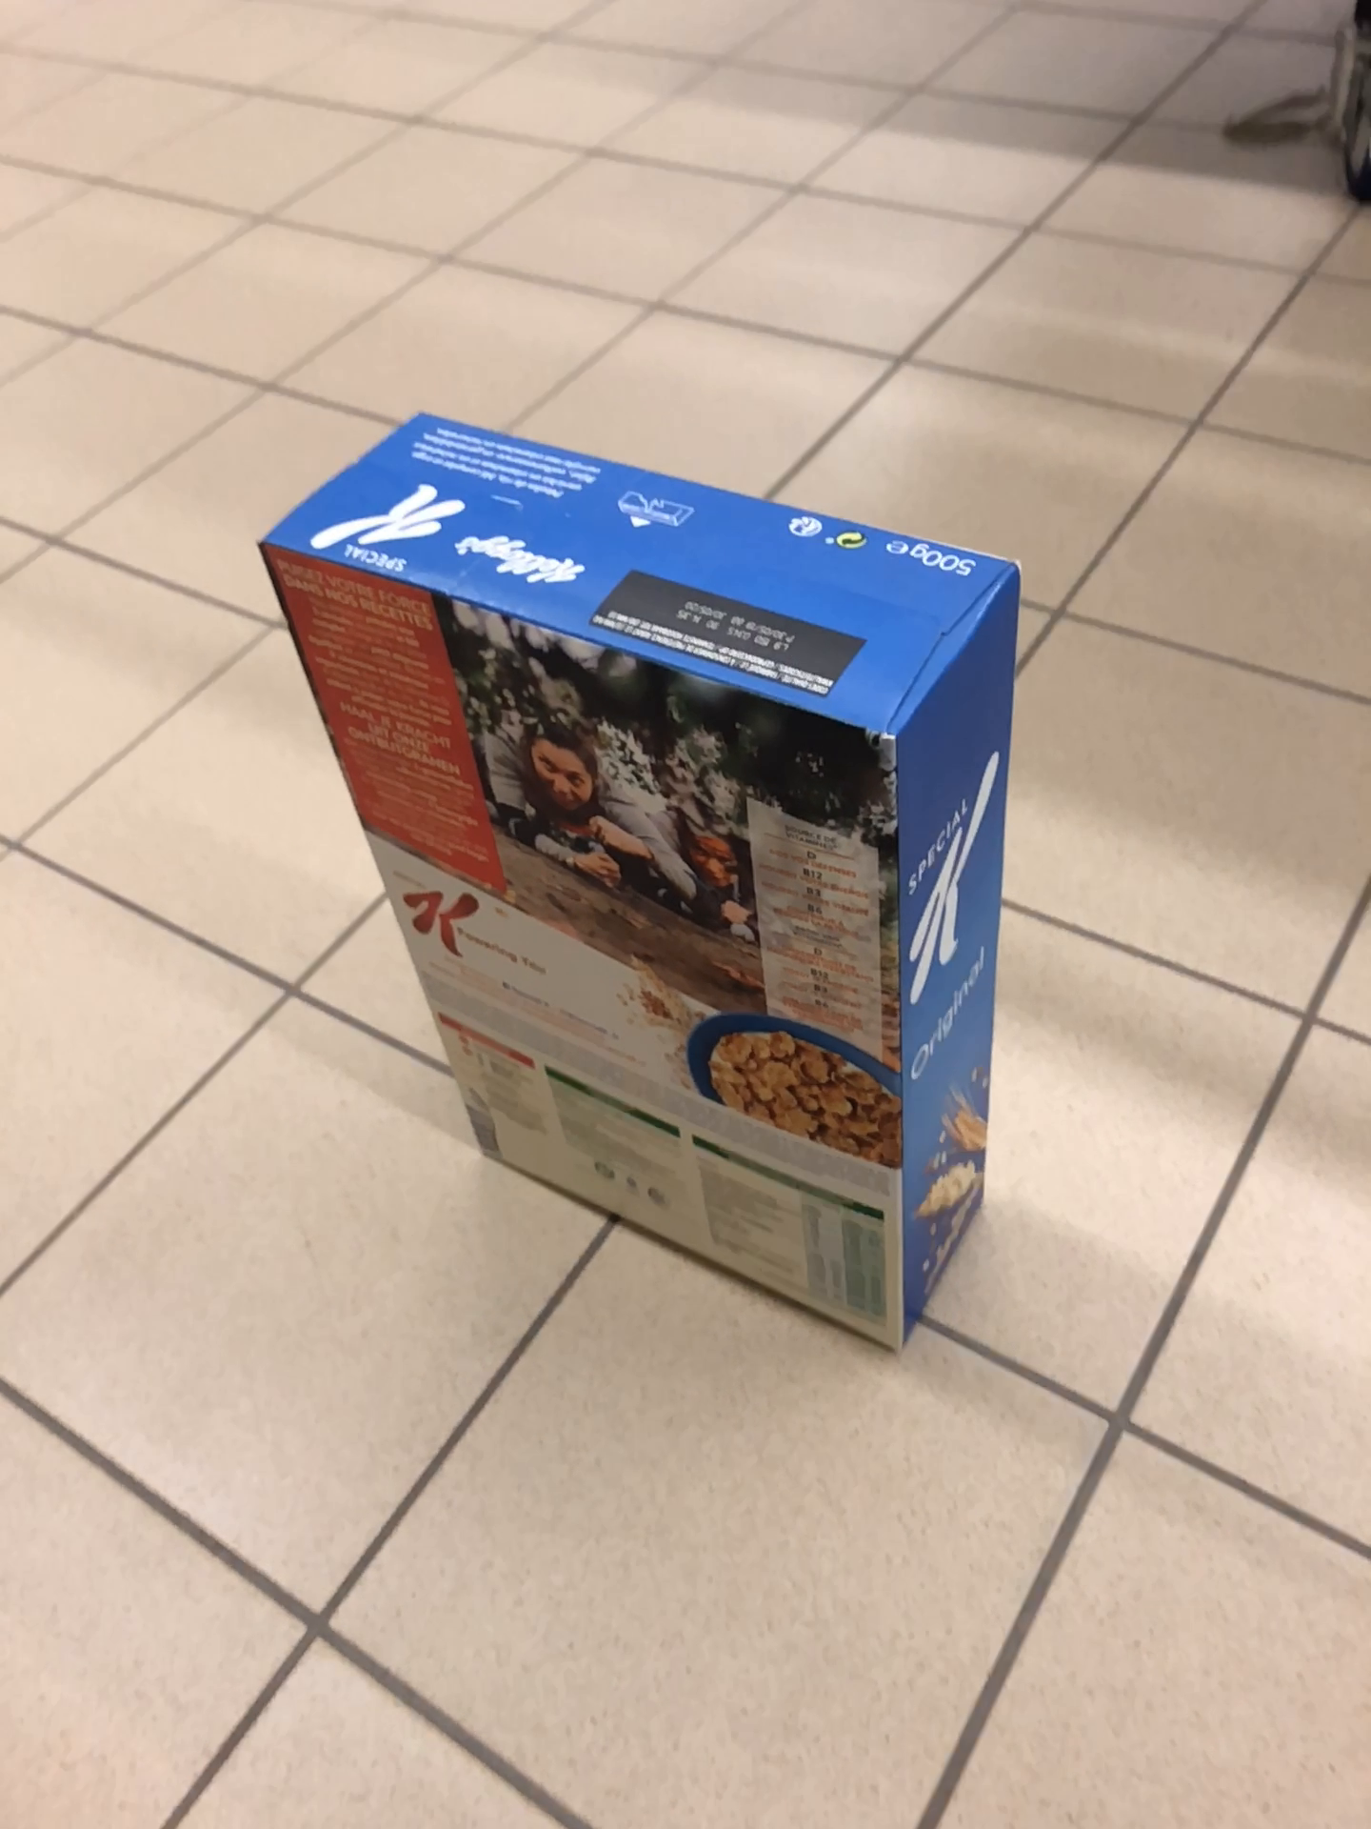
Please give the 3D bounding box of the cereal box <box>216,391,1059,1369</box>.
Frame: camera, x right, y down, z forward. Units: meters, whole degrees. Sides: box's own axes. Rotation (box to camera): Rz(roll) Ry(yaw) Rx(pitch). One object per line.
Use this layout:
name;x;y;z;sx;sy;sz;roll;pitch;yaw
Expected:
cereal box;-0.003;0.004;0.492;0.210;0.298;0.070;21;54;25
